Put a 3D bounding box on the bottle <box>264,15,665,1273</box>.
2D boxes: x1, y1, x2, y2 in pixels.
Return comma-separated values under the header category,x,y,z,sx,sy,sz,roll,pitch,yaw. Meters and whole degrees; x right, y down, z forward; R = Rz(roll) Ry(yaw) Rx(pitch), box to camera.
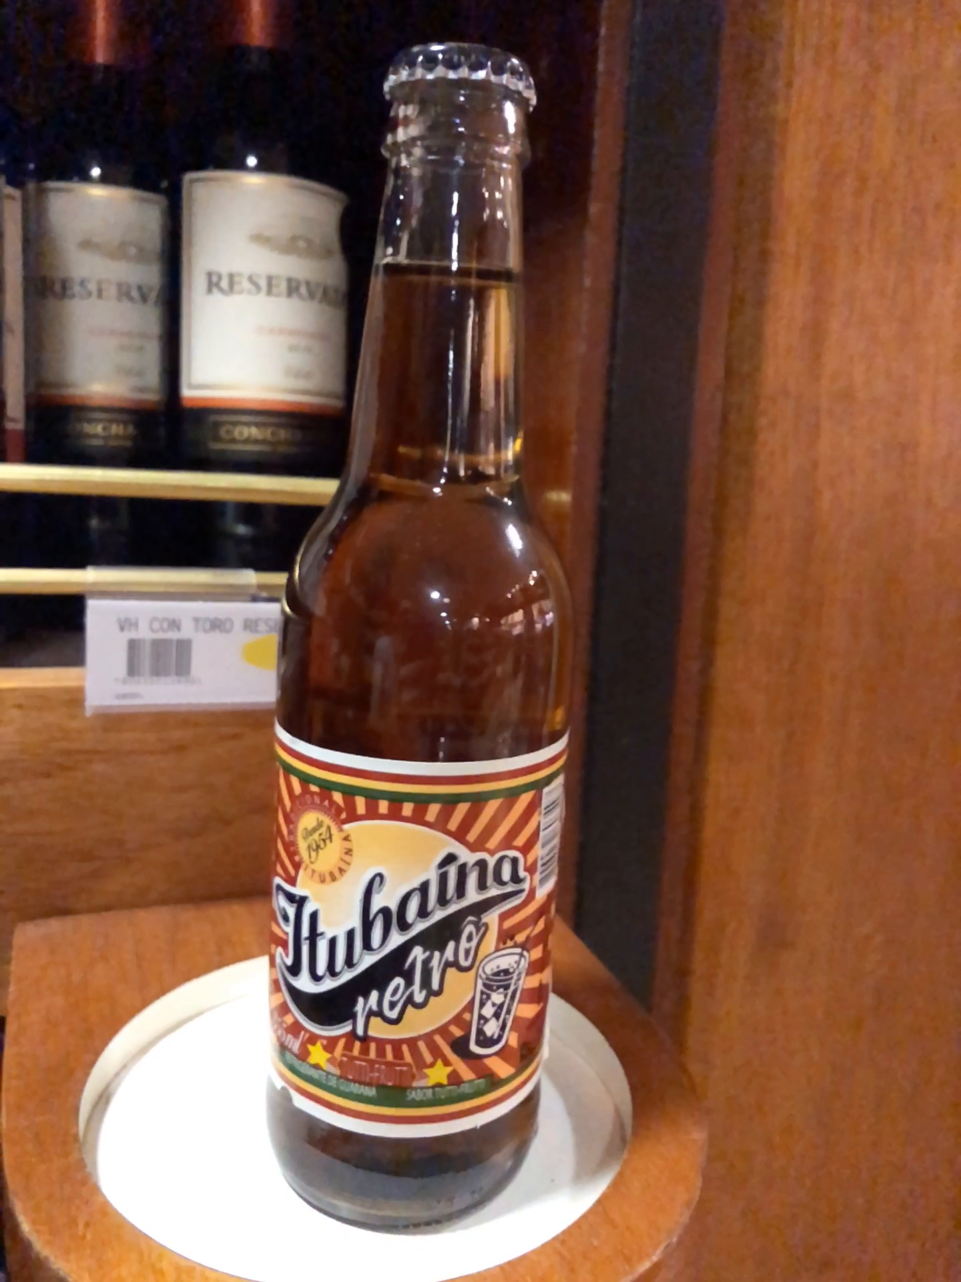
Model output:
category,x,y,z,sx,sy,sz,roll,pitch,yaw
bottle,-0.009,0.005,0.251,0.070,0.249,0.070,3,7,0
